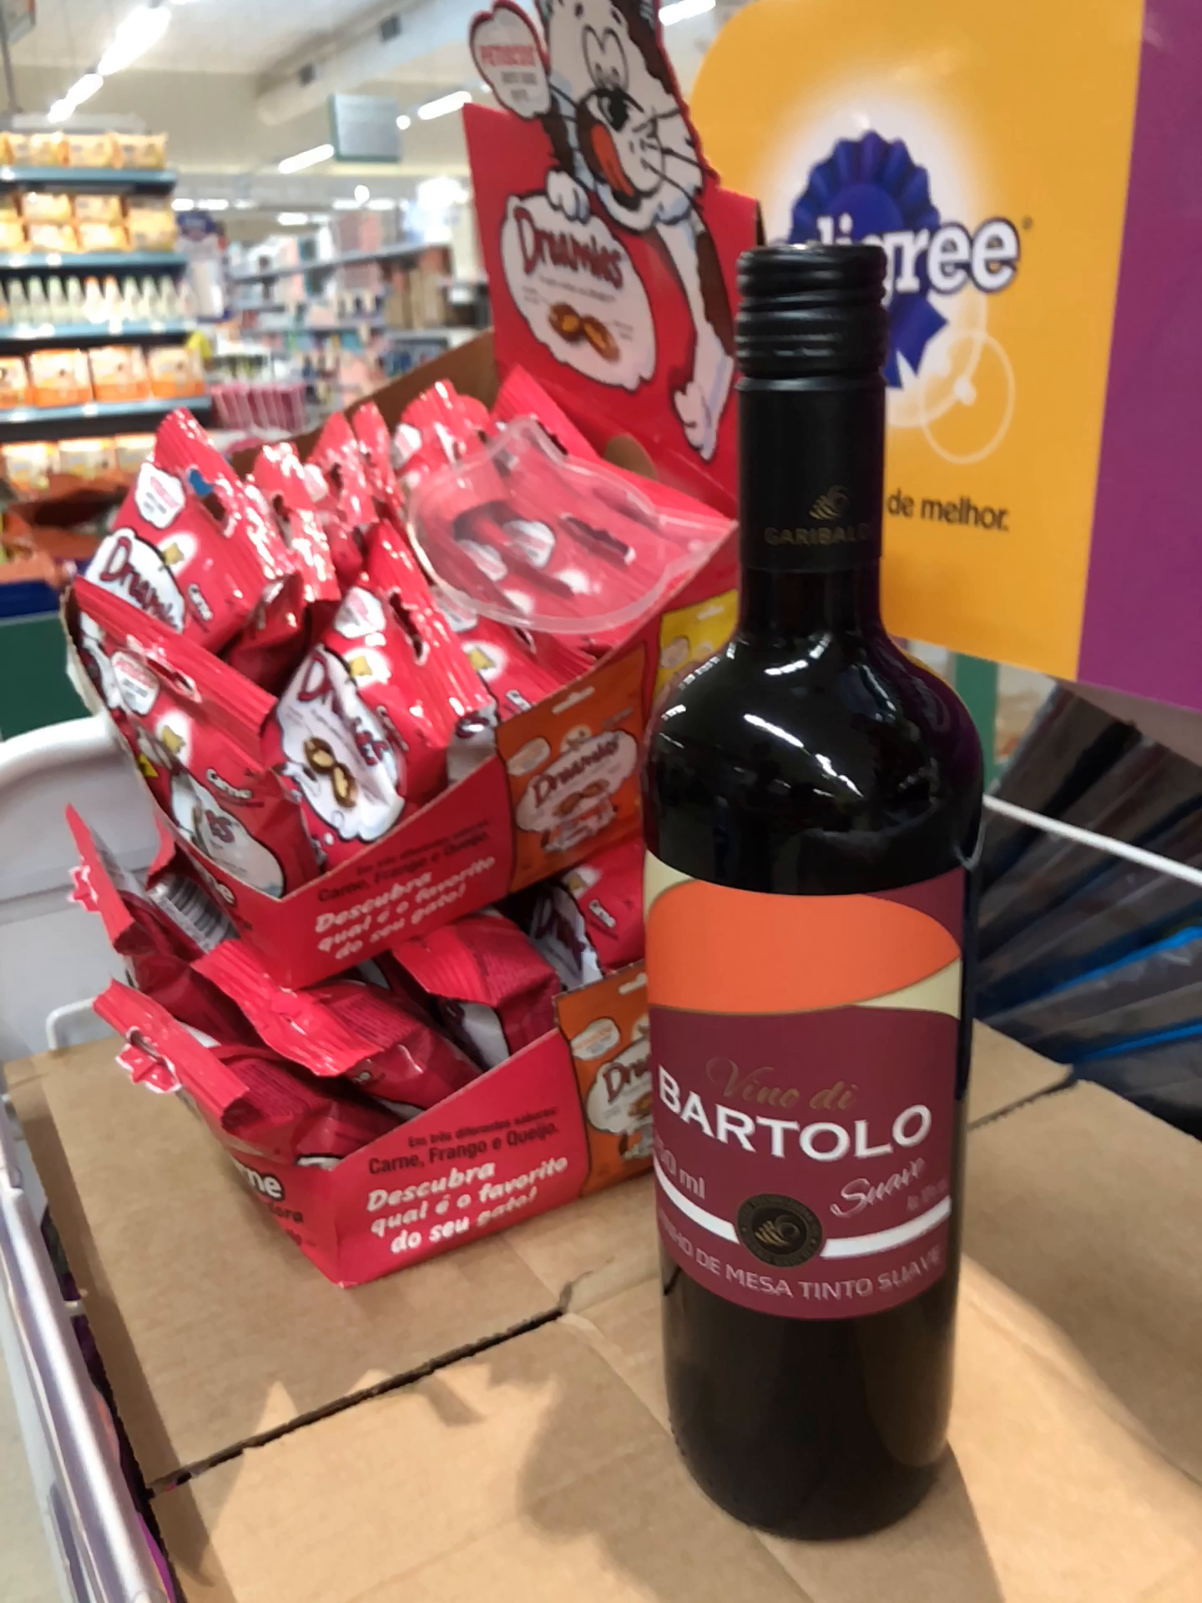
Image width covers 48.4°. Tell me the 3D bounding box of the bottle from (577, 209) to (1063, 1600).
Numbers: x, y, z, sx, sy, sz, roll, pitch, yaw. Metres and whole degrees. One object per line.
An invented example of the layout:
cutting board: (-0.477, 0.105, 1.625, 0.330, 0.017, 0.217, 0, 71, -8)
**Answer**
bottle: (0.051, 0.032, 0.304, 0.080, 0.298, 0.060, 5, 21, 22)
